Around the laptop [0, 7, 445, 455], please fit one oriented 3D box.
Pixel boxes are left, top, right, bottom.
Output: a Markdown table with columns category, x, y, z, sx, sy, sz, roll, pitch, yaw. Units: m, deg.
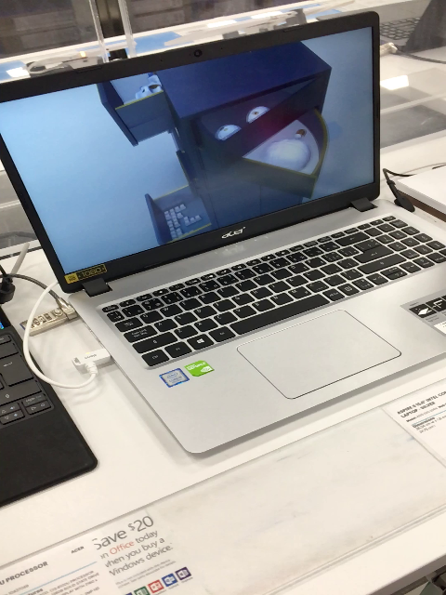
| category | x | y | z | sx | sy | sz | roll | pitch | yaw |
| --- | --- | --- | --- | --- | --- | --- | --- | --- | --- |
| laptop | 0.068 | -0.085 | 0.535 | 0.396 | 0.221 | 0.290 | -23 | 48 | -18 |
